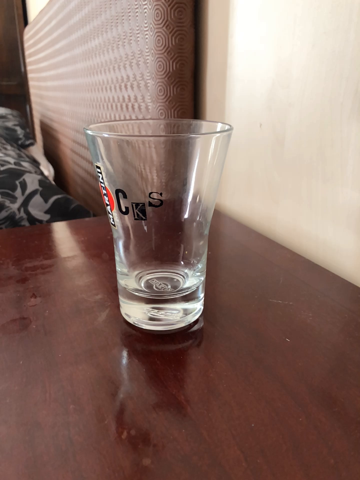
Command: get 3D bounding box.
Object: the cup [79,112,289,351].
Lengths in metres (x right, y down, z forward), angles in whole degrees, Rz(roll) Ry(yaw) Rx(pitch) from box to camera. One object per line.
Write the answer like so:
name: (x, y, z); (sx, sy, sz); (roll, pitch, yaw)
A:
cup: (-0.004, -0.017, 0.255); (0.094, 0.118, 0.094); (0, 21, 0)
